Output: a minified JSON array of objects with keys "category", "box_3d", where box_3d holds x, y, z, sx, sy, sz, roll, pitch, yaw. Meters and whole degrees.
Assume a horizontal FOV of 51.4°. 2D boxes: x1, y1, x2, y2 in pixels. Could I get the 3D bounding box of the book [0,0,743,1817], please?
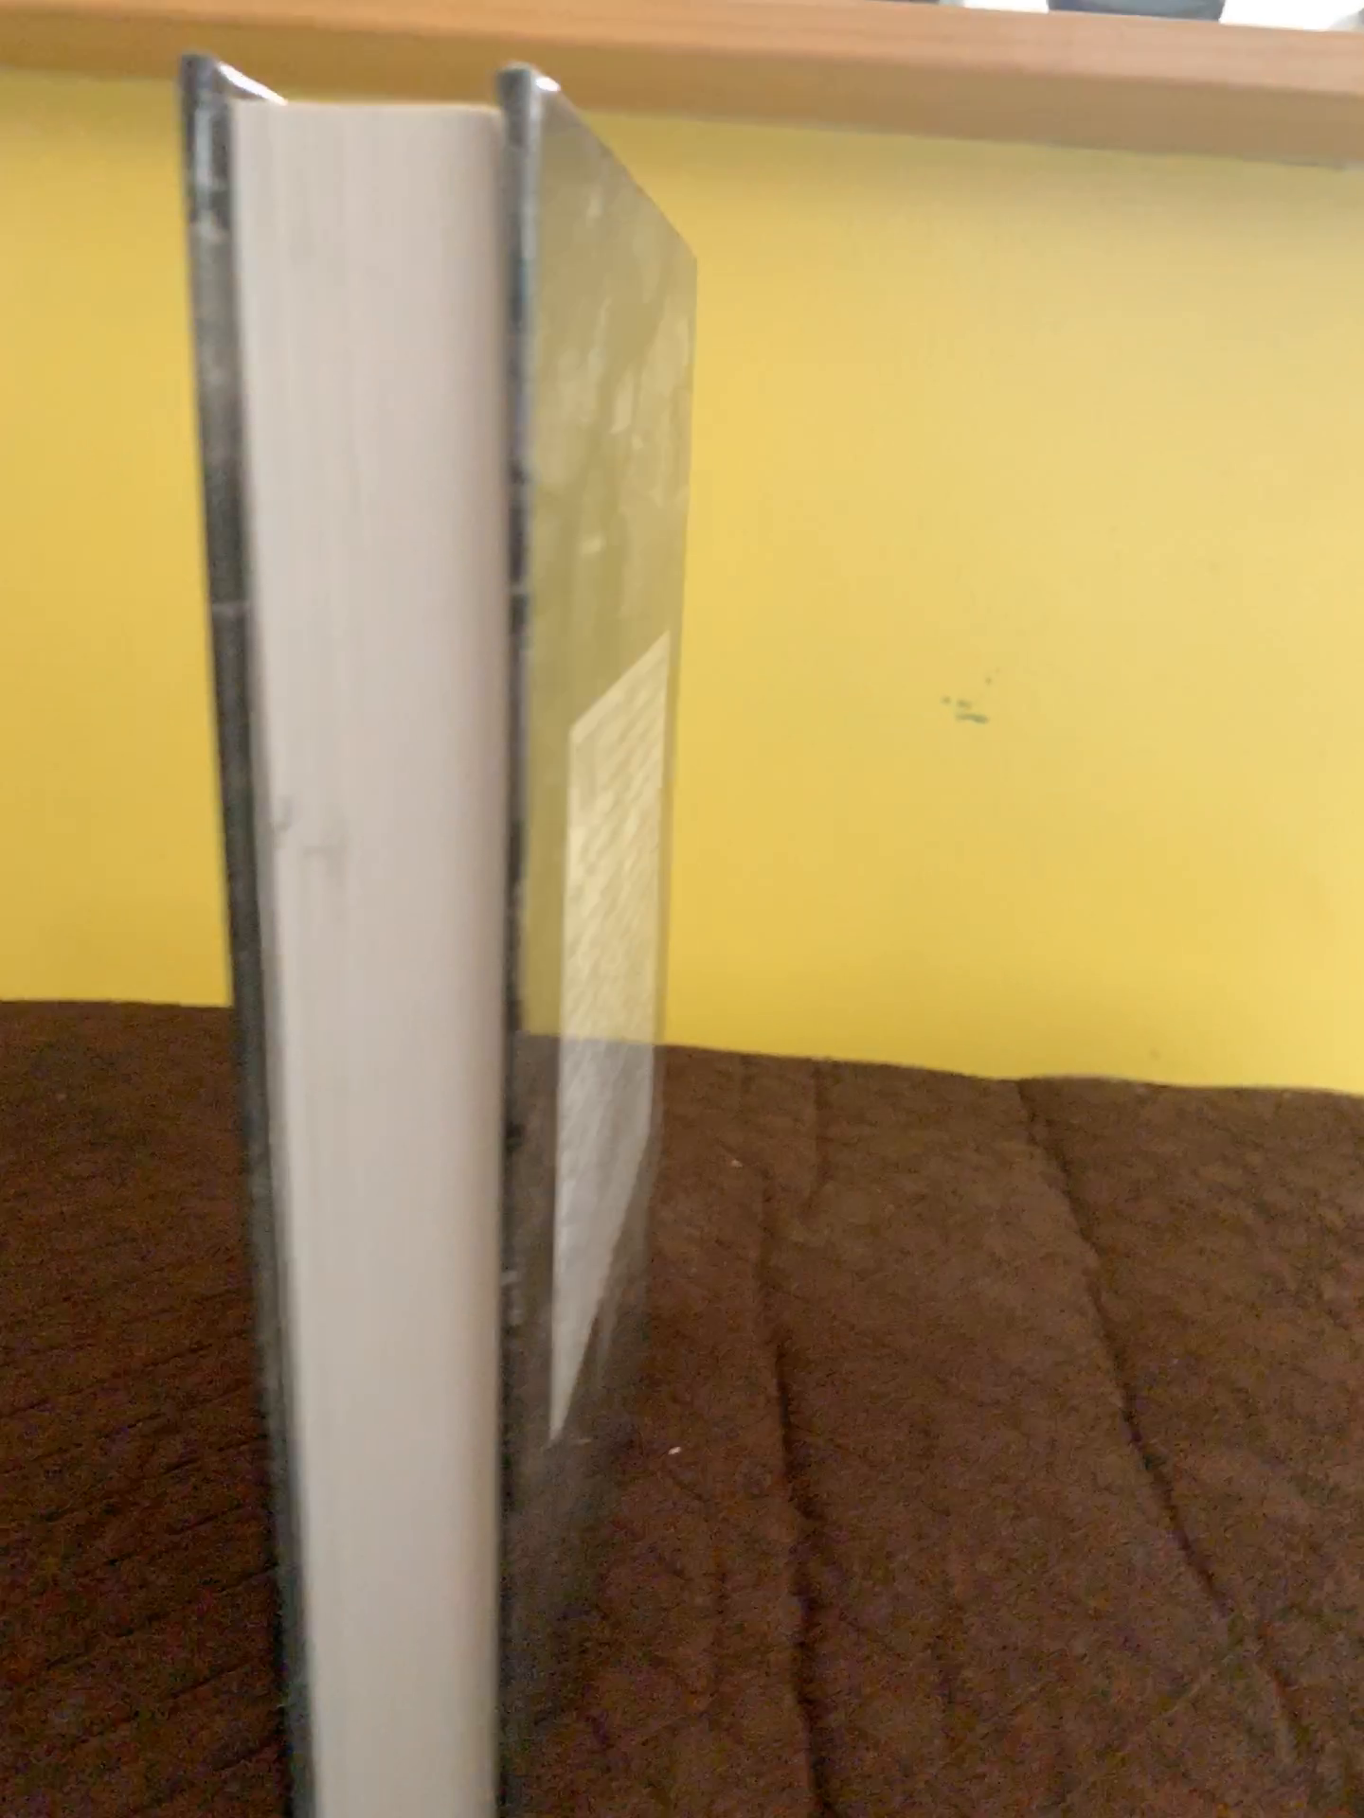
[{"category":"book","box_3d":[-0.024,0.008,0.216,0.040,0.229,0.161,4,17,8]}]
